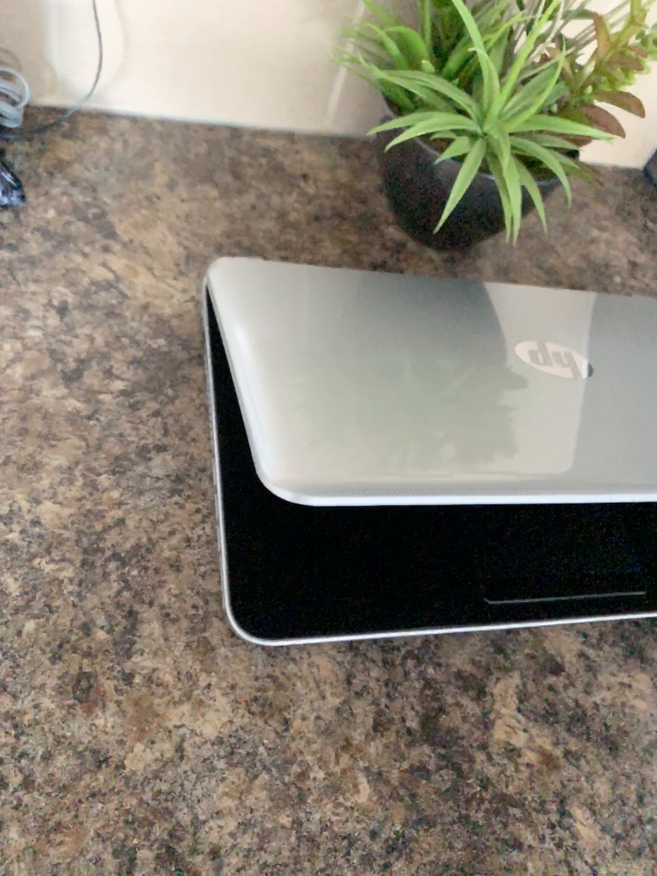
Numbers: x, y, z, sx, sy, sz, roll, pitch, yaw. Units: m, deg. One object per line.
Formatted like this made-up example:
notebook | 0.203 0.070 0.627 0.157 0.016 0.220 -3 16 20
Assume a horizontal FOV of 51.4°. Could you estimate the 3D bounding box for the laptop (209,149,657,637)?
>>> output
laptop | 0.113 -0.027 0.356 0.328 0.081 0.207 1 57 -18
